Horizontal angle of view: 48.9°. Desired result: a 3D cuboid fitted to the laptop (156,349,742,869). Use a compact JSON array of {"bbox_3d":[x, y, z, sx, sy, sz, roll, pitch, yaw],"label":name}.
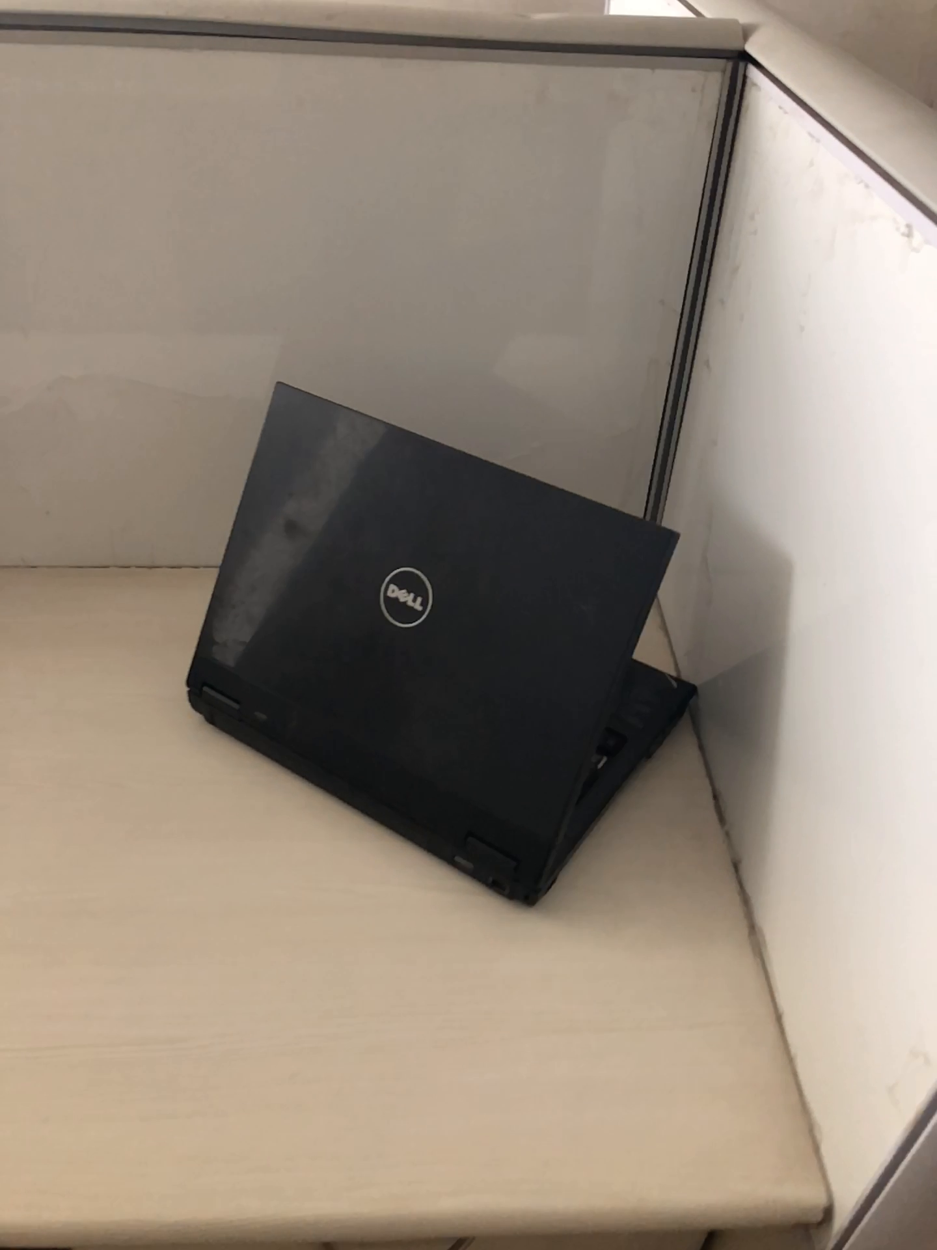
[{"bbox_3d":[-0.012,-0.032,0.724,0.304,0.190,0.230,25,41,24],"label":"laptop"}]
